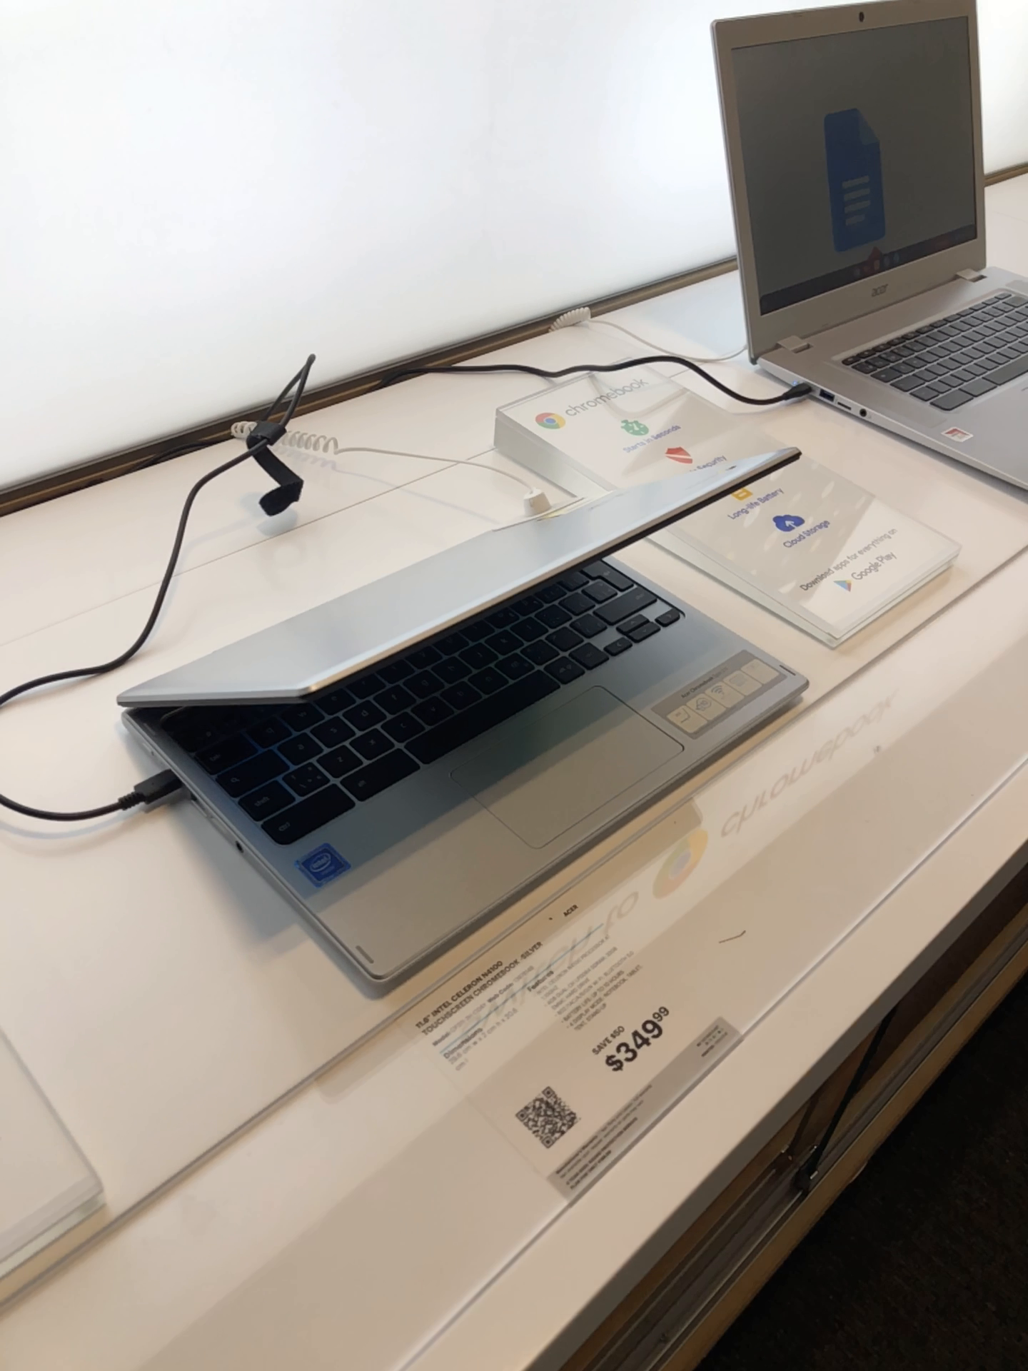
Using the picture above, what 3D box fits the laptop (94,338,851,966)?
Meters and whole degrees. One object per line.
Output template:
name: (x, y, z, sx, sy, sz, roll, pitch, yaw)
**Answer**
laptop: (-0.013, -0.041, 0.535, 0.280, 0.123, 0.192, -29, 51, -35)
